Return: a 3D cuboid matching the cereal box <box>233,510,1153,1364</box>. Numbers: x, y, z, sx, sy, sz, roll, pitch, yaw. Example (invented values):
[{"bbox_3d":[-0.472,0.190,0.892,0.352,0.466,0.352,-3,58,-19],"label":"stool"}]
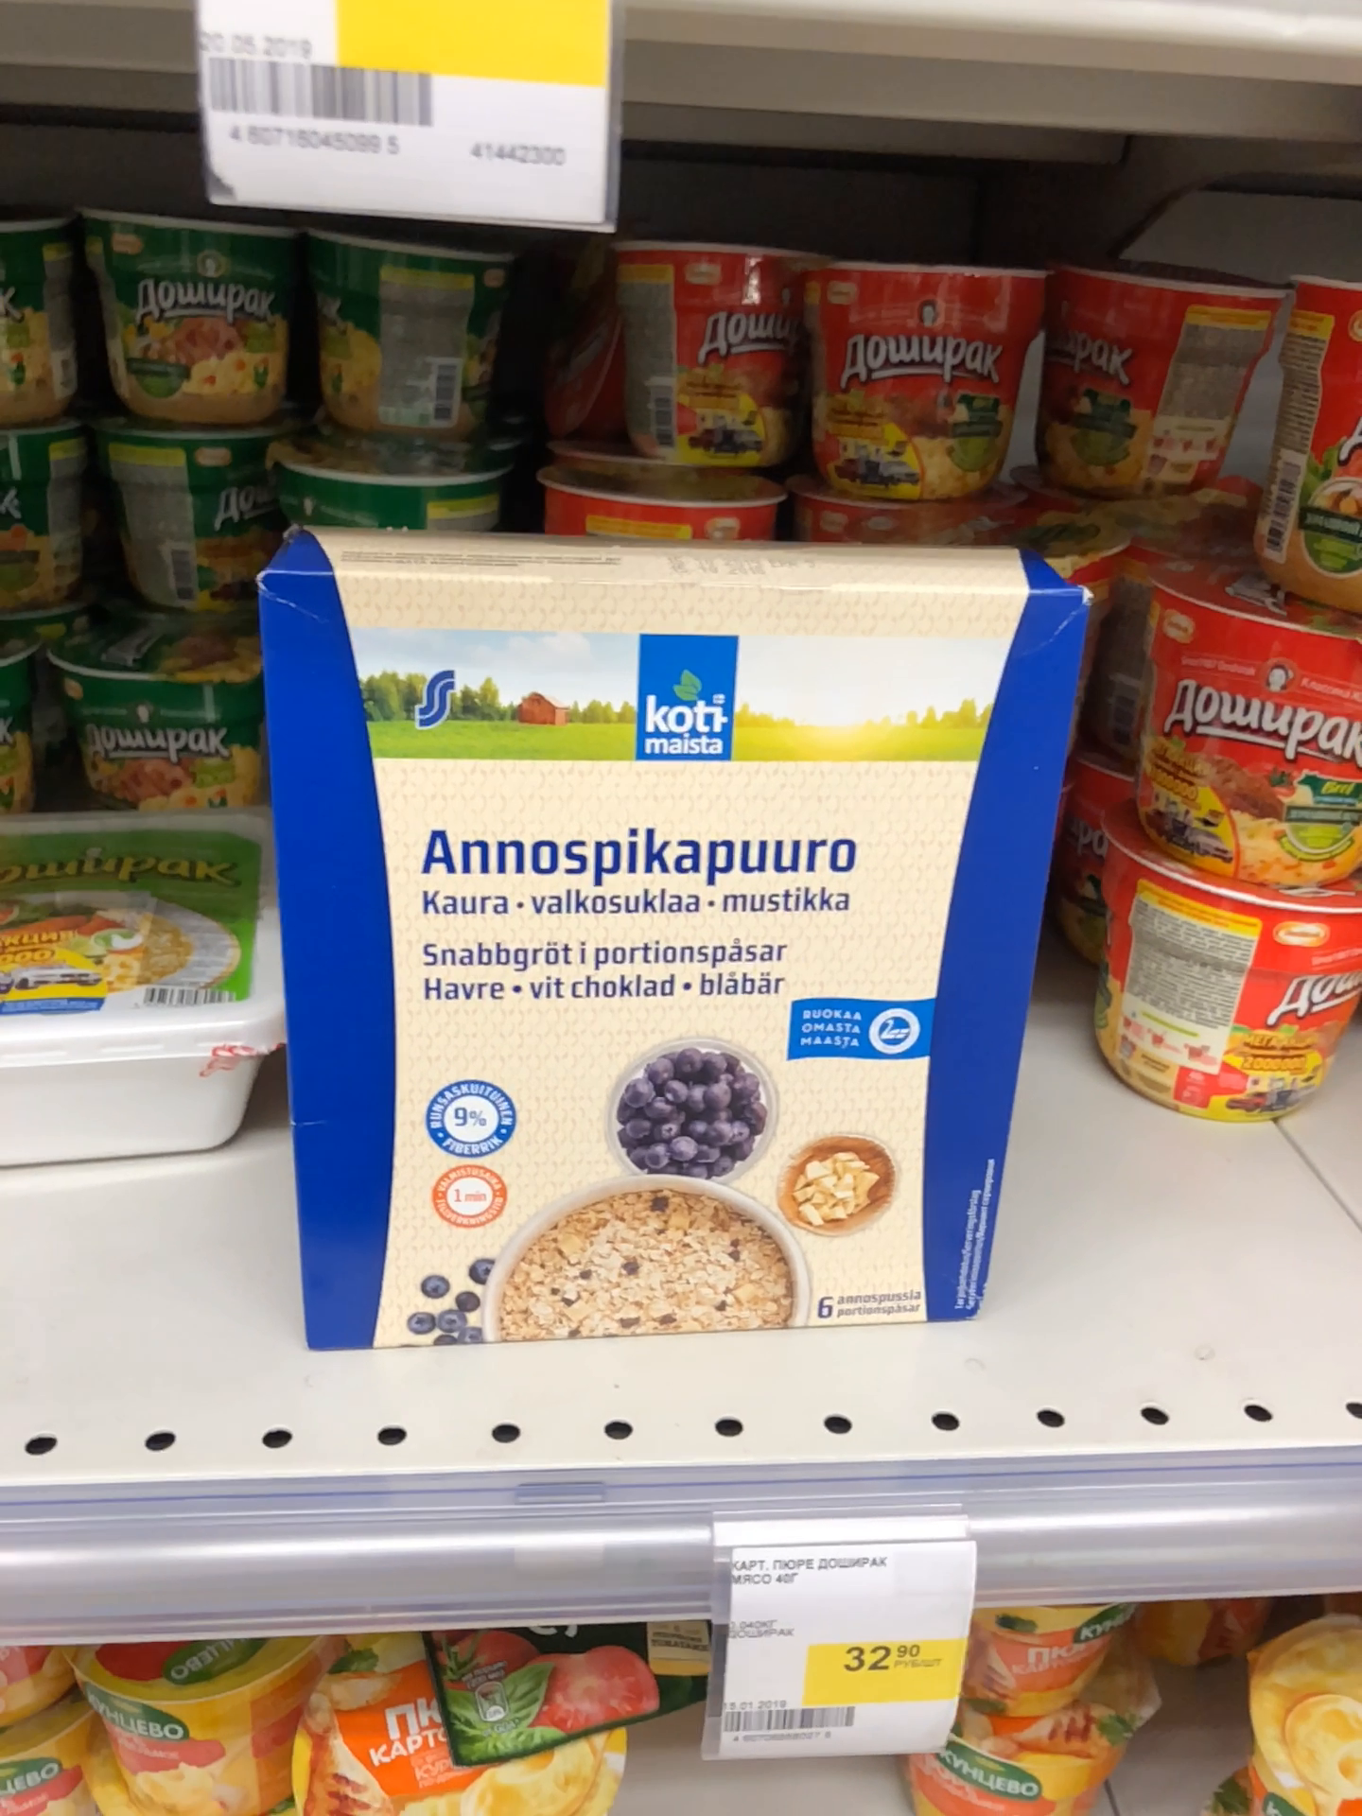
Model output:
[{"bbox_3d":[-0.001,0.009,0.335,0.170,0.179,0.050,-1,24,-7],"label":"cereal box"}]
